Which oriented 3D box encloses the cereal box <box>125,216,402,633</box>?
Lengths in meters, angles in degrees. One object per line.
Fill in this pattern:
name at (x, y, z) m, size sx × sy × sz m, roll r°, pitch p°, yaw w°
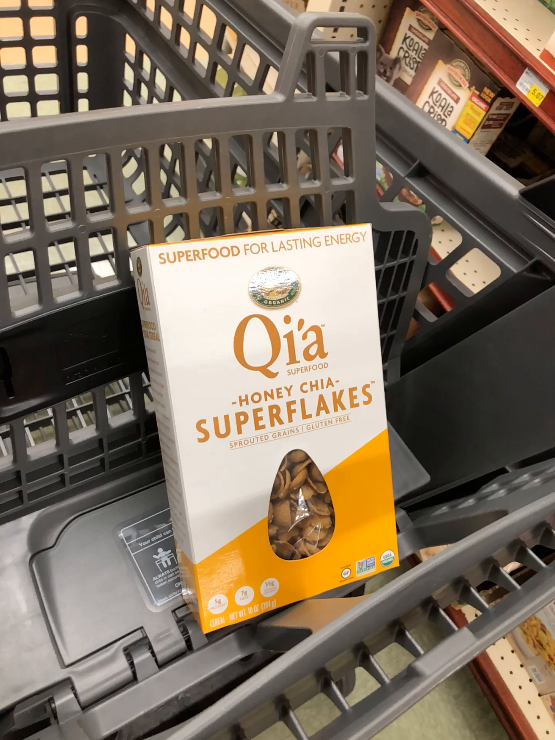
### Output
cereal box at (-0.005, 0.030, 0.448) m, size 0.160 × 0.070 × 0.260 m, roll -10°, pitch 100°, yaw -23°
